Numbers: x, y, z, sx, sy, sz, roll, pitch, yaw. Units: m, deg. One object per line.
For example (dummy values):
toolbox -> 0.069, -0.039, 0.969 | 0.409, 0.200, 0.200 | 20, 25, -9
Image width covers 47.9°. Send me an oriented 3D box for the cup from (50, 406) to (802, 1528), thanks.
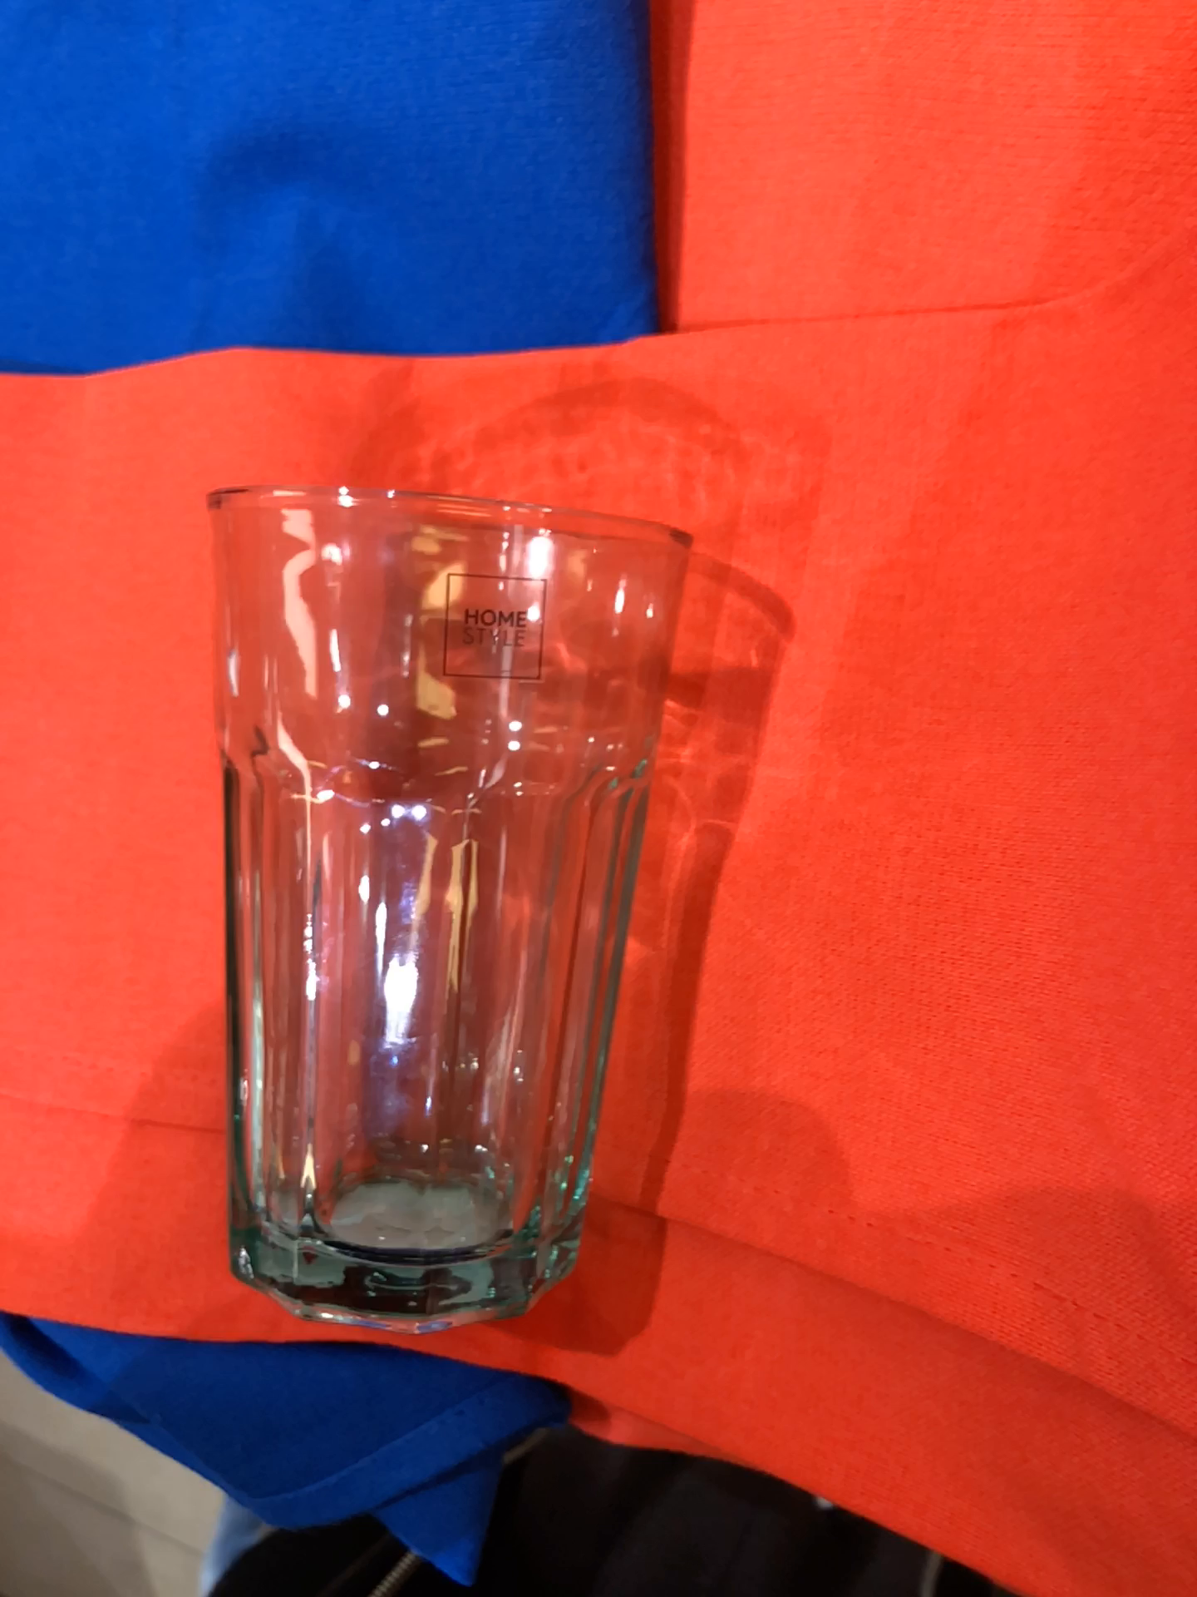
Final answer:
cup -> -0.027, 0.018, 0.227 | 0.090, 0.070, 0.150 | 8, 95, 23
